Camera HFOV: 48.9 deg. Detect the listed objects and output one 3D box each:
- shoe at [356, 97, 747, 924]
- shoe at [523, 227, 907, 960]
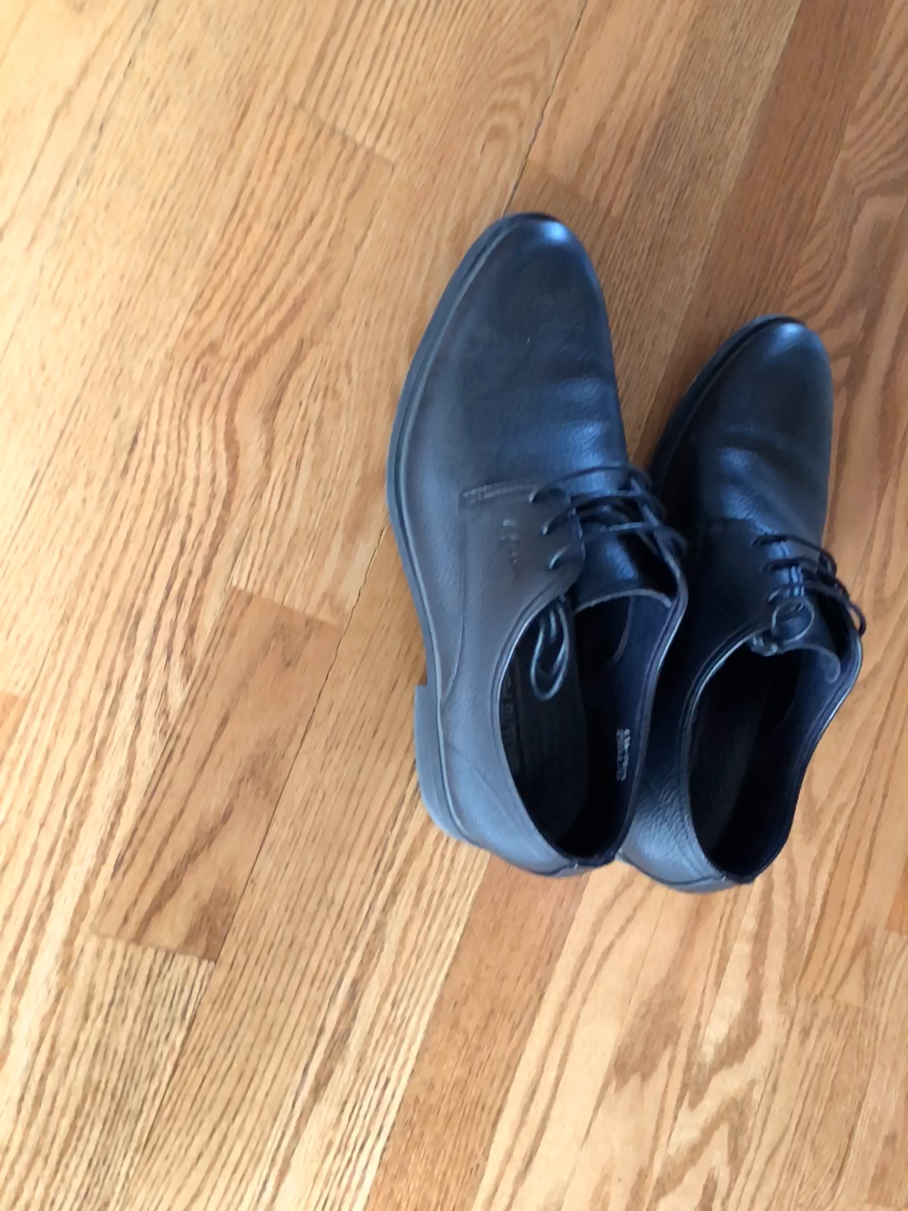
[{"bbox_3d":[0.037,-0.034,0.447,0.110,0.124,0.304,3,91,-25],"label":"shoe"},{"bbox_3d":[0.156,-0.005,0.490,0.110,0.124,0.299,22,83,-24],"label":"shoe"}]
